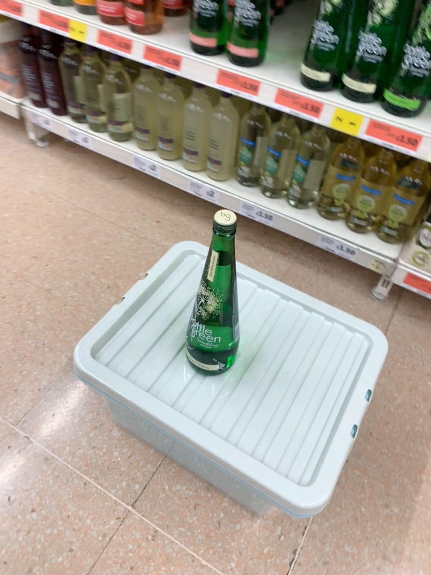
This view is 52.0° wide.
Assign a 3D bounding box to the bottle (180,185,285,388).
[{"bbox_3d":[0.012,0.016,0.630,0.084,0.297,0.093,32,55,21],"label":"bottle"}]
